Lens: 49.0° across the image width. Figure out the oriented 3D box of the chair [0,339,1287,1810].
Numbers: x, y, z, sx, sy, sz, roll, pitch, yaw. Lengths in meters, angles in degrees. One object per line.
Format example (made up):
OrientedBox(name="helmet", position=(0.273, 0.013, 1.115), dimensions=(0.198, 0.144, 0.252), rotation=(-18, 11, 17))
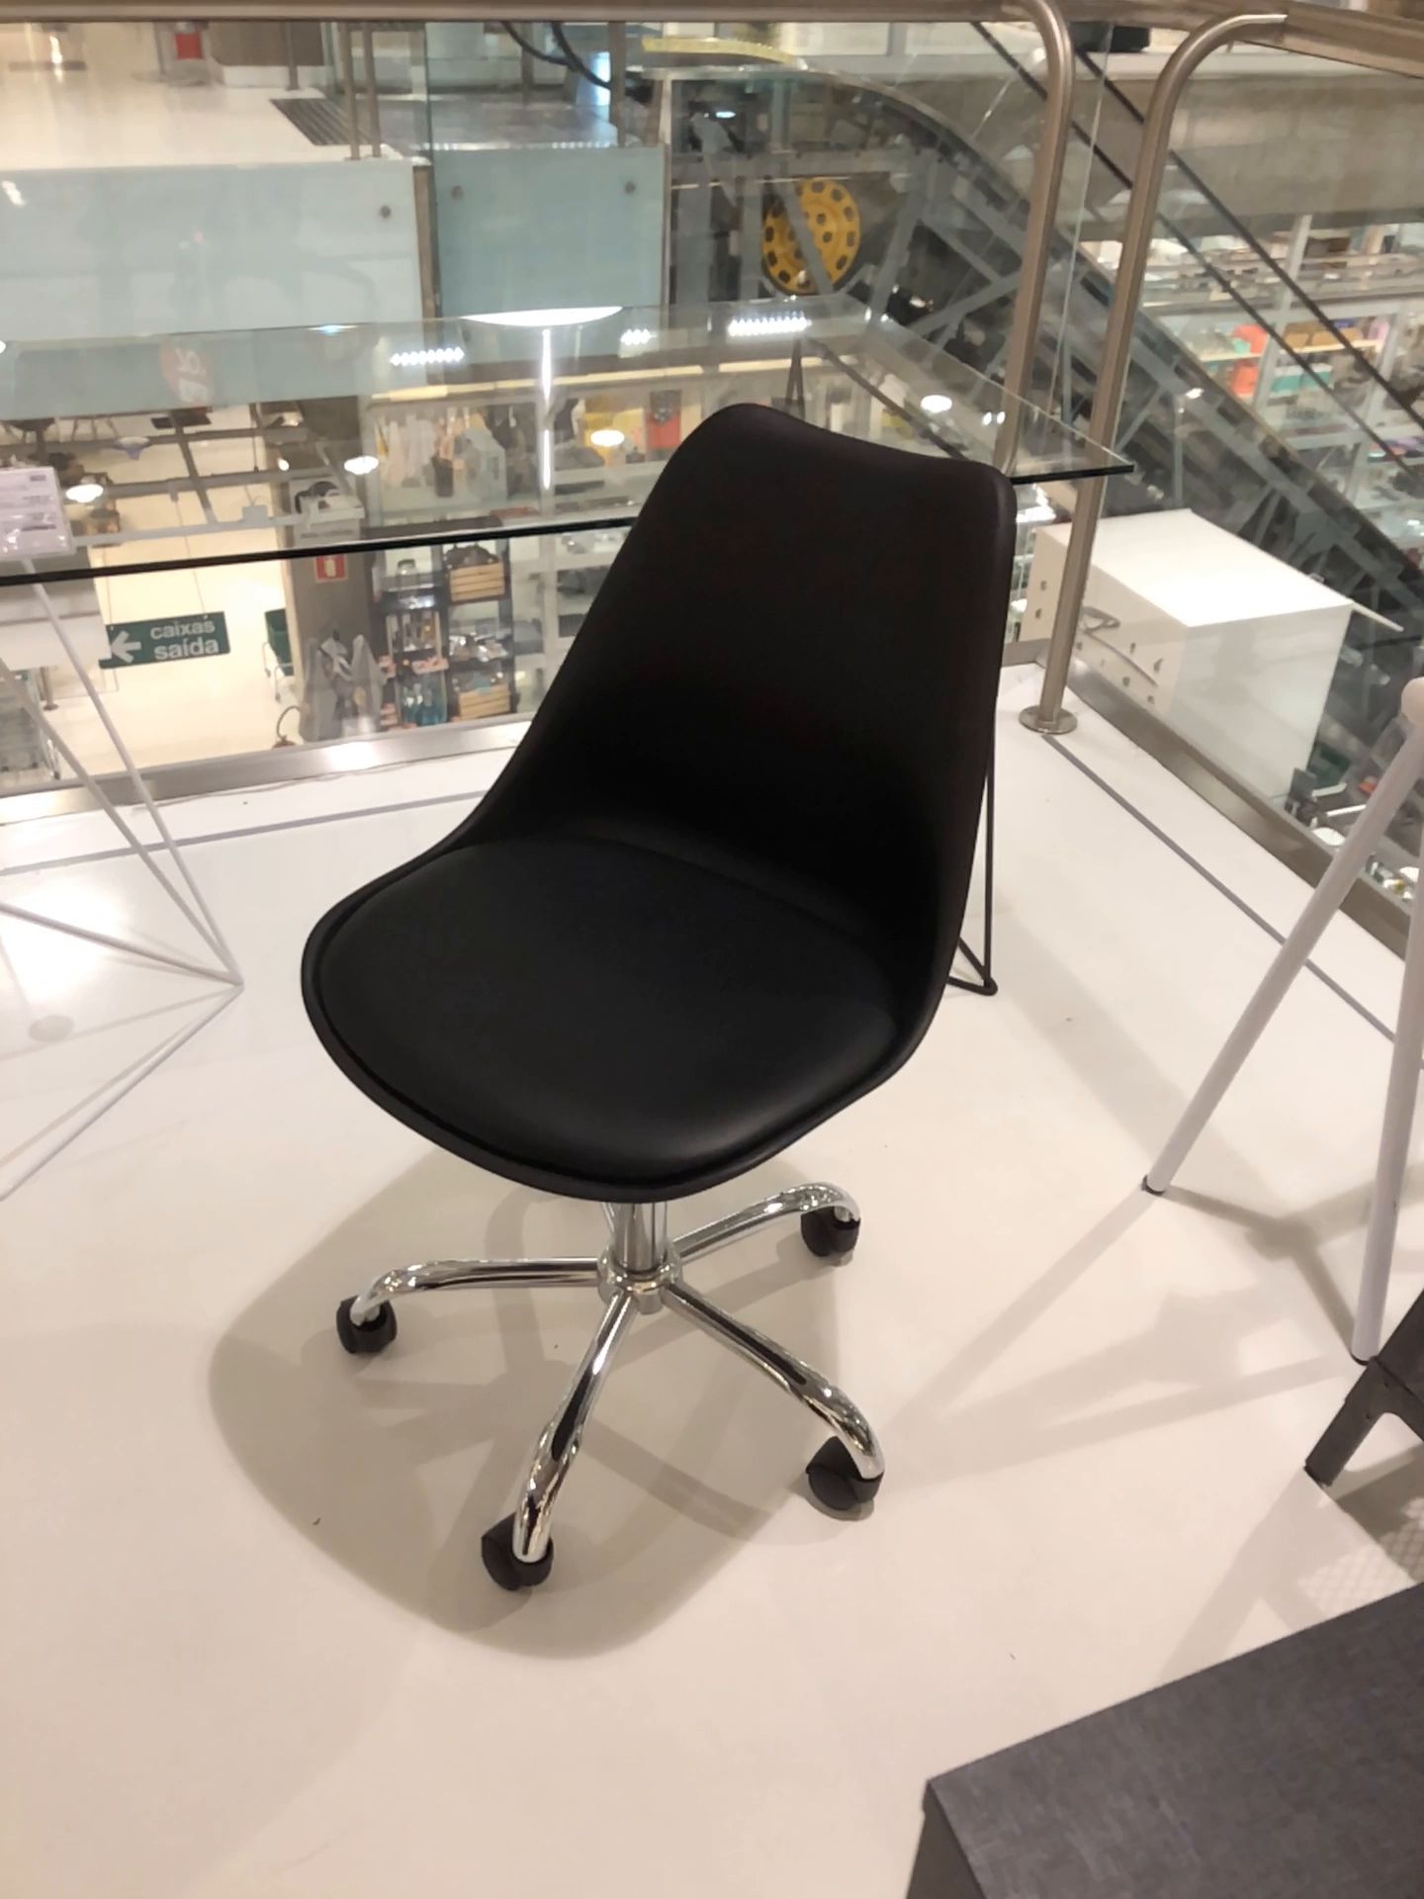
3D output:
OrientedBox(name="chair", position=(-0.040, 0.043, 1.284), dimensions=(0.632, 0.823, 0.633), rotation=(23, 40, 27))
